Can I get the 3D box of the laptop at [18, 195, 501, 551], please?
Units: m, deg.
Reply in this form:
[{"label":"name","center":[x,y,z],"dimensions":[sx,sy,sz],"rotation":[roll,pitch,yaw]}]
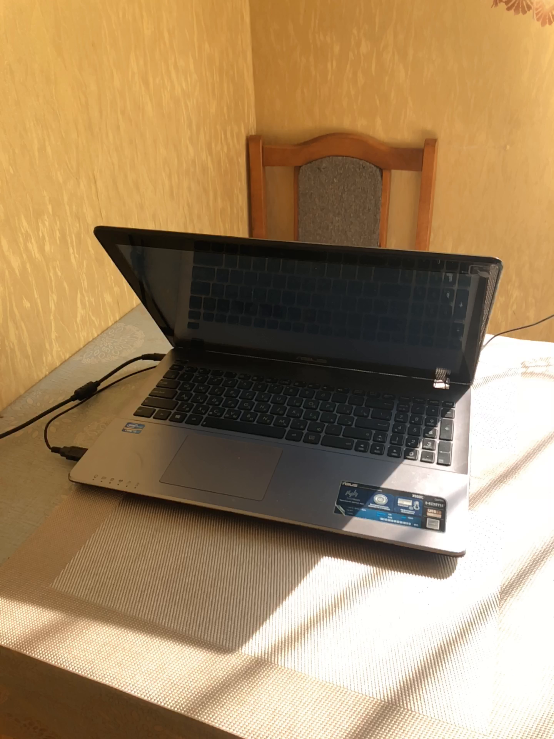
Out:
[{"label":"laptop","center":[0.008,-0.022,0.584],"dimensions":[0.364,0.197,0.241],"rotation":[7,34,14]}]
